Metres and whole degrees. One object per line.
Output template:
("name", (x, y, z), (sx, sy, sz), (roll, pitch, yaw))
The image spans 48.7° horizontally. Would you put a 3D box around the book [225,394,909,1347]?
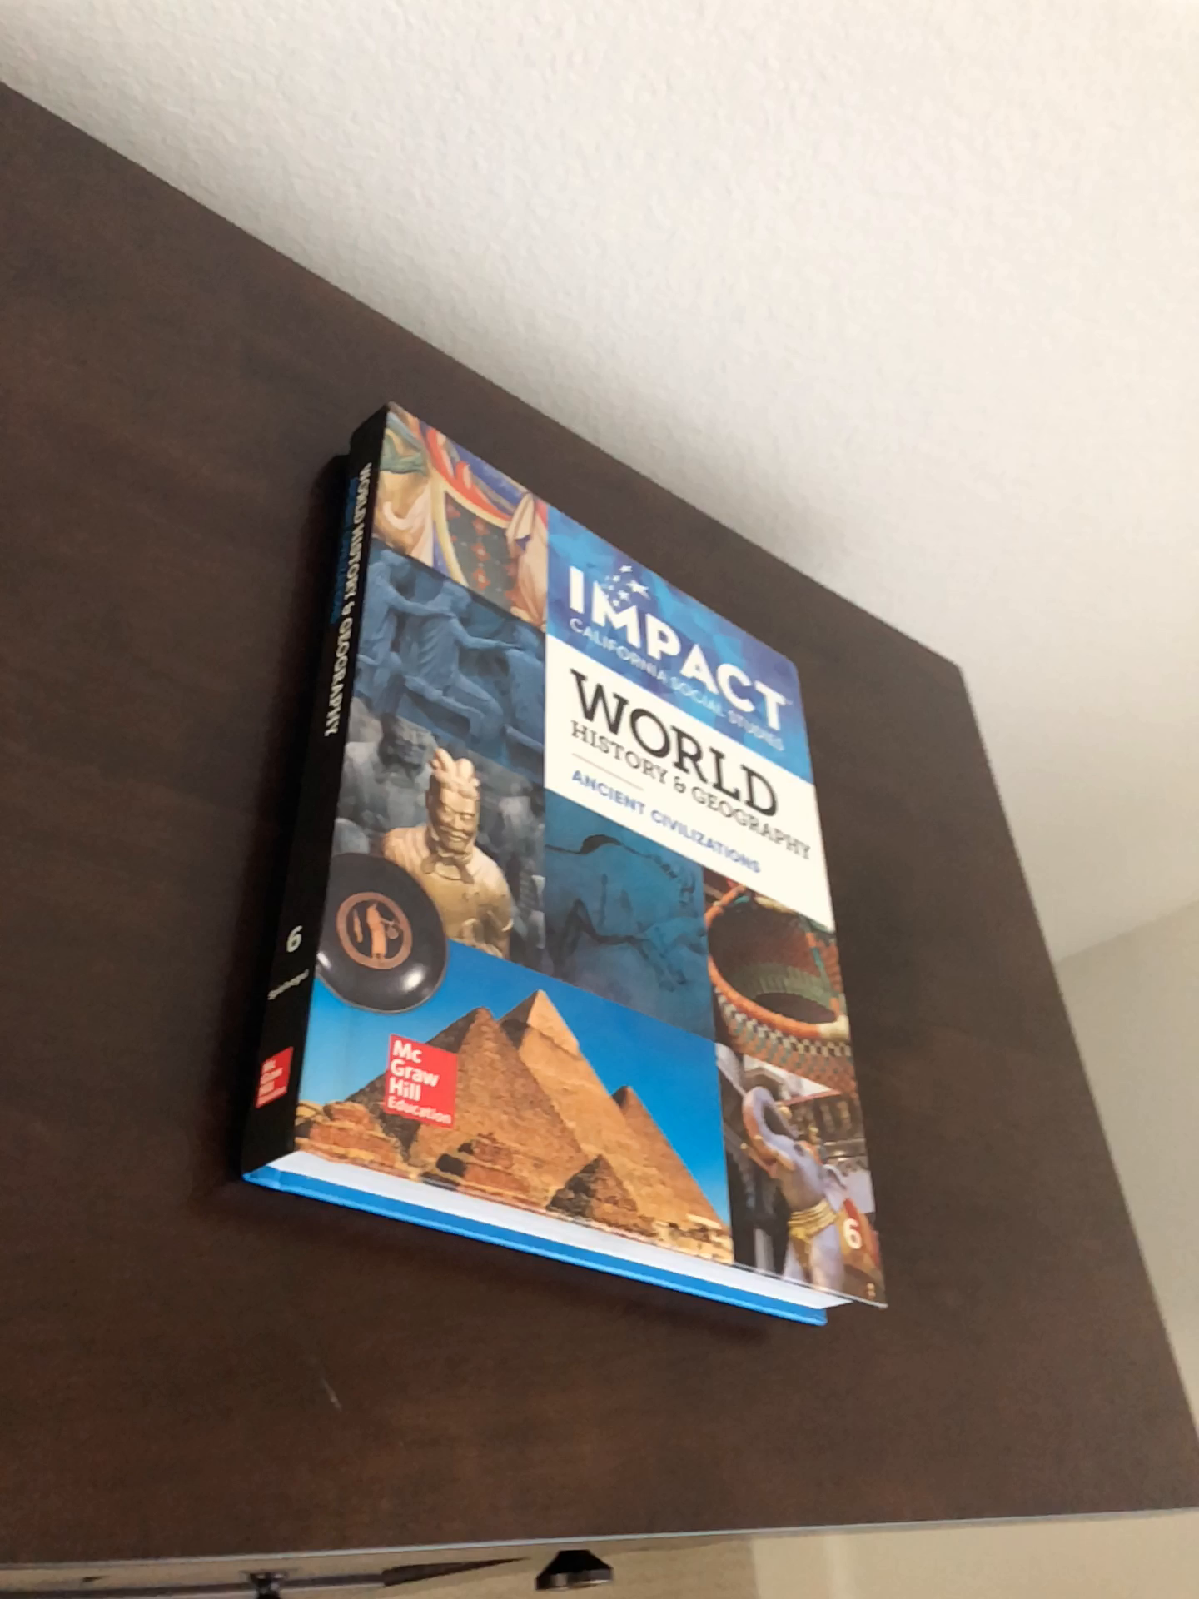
("book", (0.002, 0.019, 0.460), (0.228, 0.030, 0.285), (27, 45, -33))
